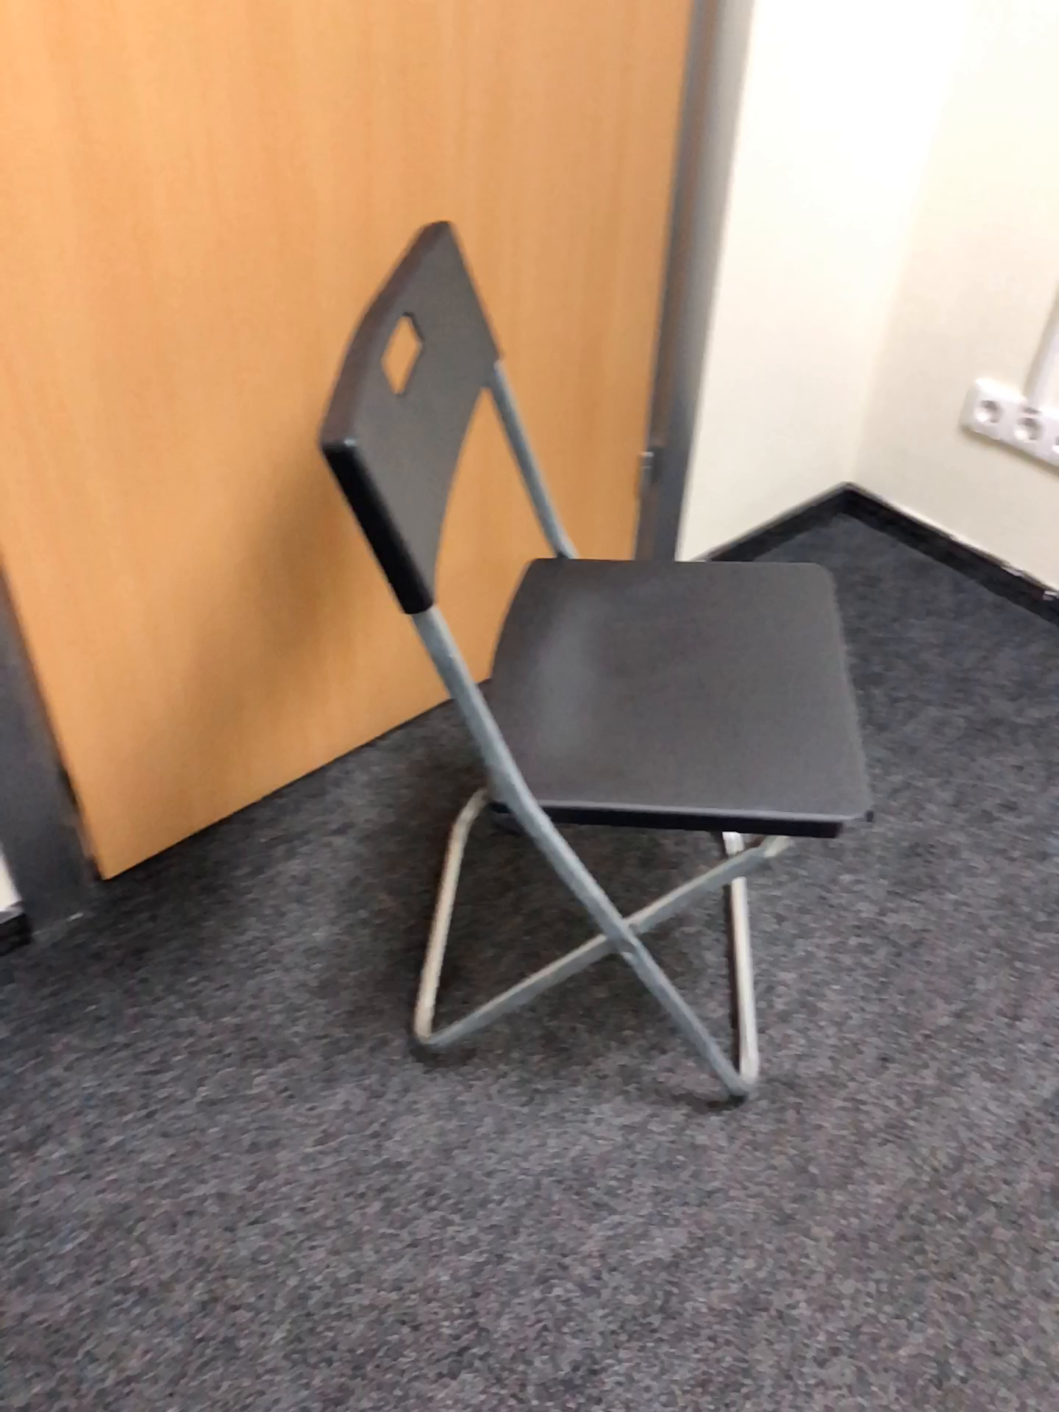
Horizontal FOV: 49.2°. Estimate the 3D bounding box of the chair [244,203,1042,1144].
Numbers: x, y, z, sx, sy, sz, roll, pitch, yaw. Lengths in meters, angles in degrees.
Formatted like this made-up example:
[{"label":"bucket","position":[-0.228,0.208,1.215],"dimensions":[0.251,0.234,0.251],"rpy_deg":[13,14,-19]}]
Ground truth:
[{"label":"chair","position":[0.076,-0.014,1.115],"dimensions":[0.480,0.725,0.483],"rpy_deg":[5,41,3]}]
